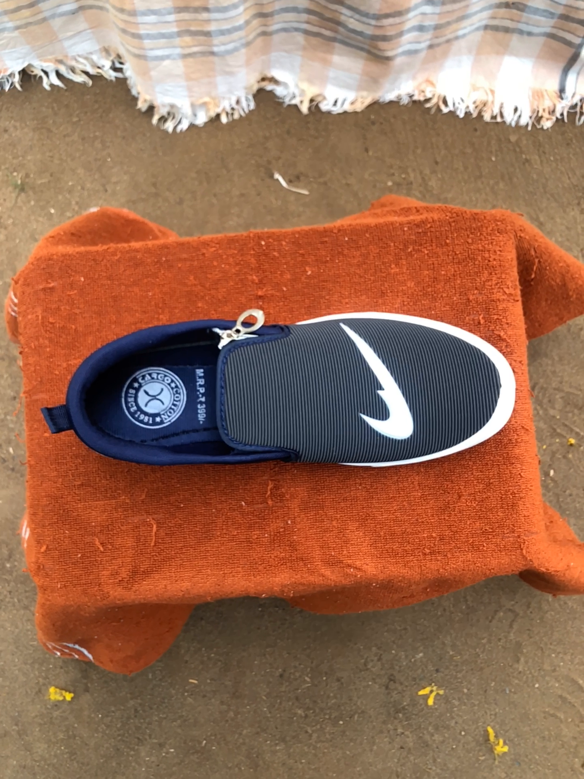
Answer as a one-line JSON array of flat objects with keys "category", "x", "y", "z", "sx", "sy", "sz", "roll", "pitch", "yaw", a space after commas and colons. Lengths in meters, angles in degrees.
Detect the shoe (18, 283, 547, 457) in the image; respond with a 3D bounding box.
[{"category": "shoe", "x": -0.005, "y": -0.008, "z": 0.414, "sx": 0.300, "sy": 0.080, "sz": 0.100, "roll": 0, "pitch": 84, "yaw": -1}]
